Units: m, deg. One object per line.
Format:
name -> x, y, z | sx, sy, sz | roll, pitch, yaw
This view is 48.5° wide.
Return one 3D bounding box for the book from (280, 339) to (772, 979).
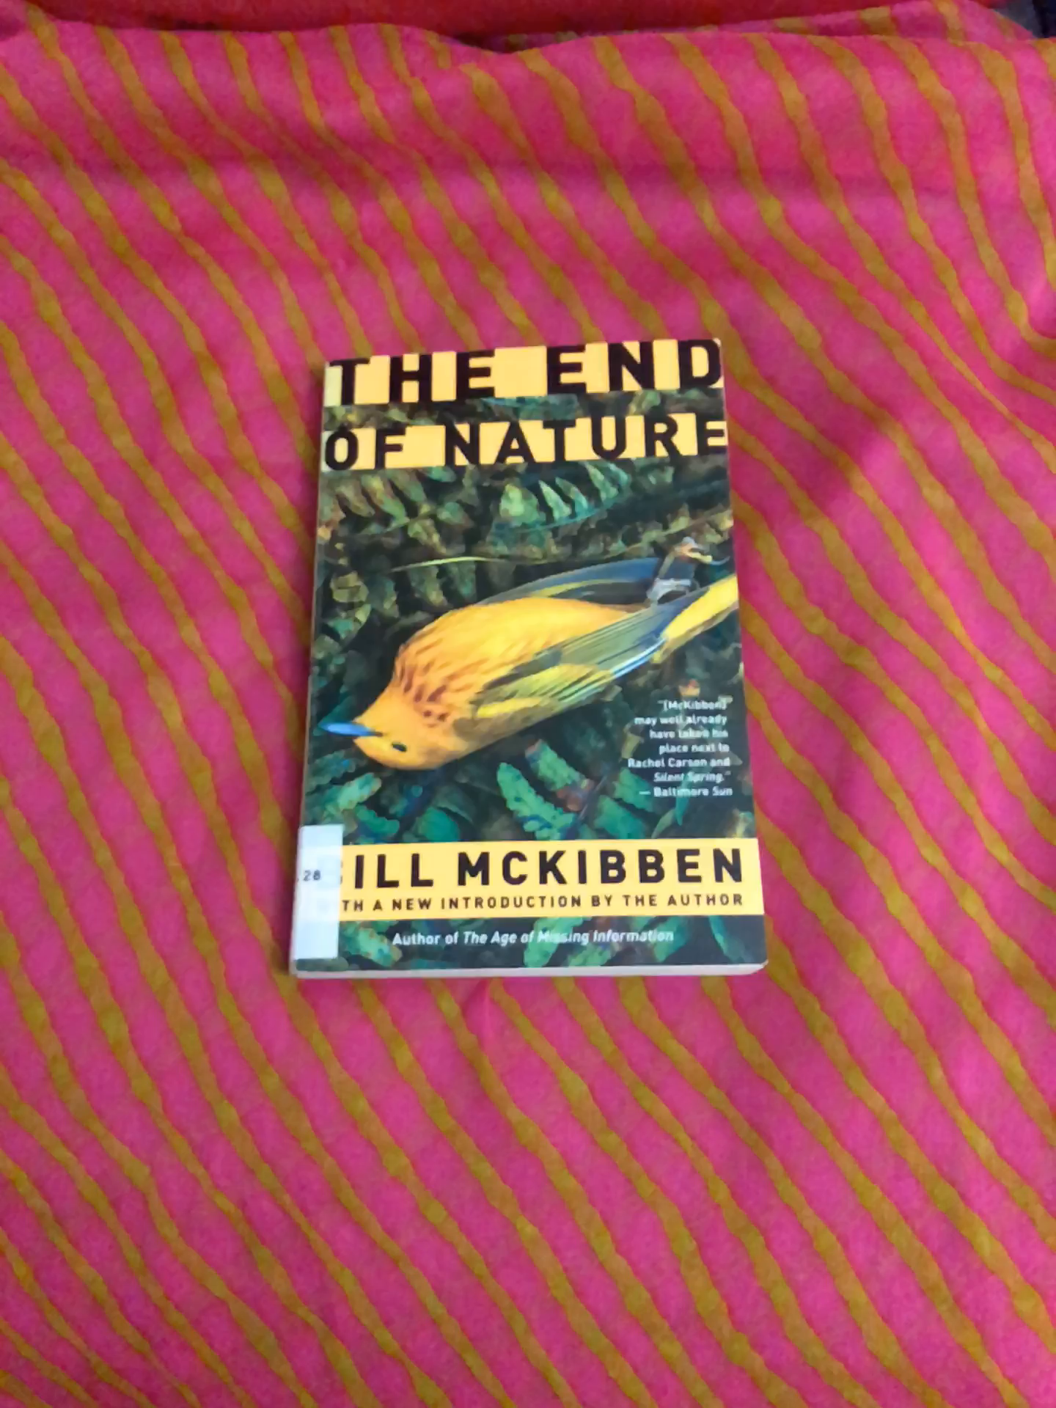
book -> -0.002, -0.019, 0.351 | 0.131, 0.020, 0.194 | -1, 73, 0
